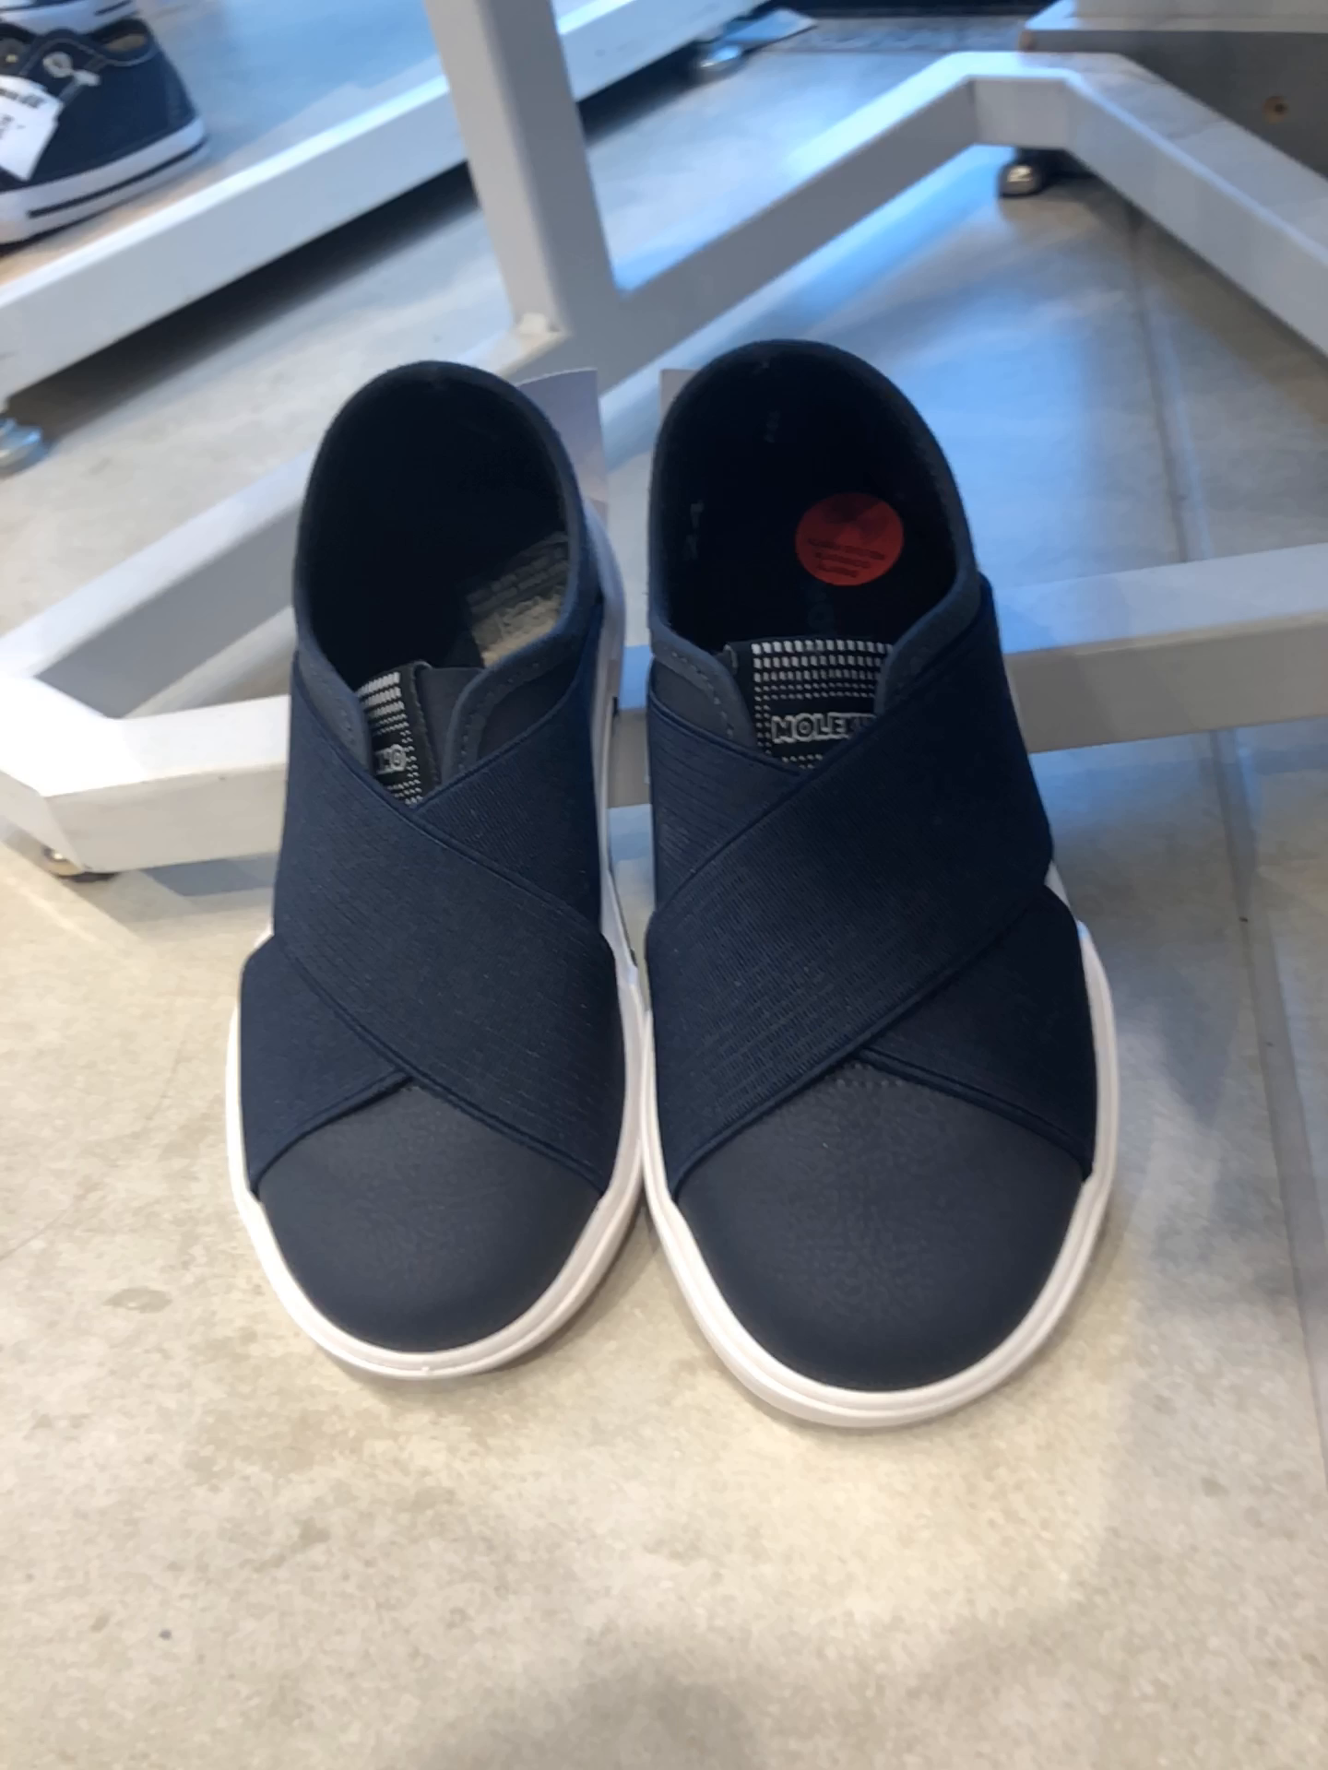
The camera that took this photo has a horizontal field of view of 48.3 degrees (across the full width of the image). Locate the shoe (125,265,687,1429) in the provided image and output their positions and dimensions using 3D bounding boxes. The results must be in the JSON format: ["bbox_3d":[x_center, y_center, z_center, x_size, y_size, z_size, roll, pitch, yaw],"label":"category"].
[{"bbox_3d":[-0.037,-0.005,0.257,0.070,0.070,0.181,-3,74,7],"label":"shoe"}]

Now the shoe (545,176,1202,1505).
[{"bbox_3d":[0.028,-0.006,0.233,0.070,0.070,0.181,-7,73,10],"label":"shoe"}]
